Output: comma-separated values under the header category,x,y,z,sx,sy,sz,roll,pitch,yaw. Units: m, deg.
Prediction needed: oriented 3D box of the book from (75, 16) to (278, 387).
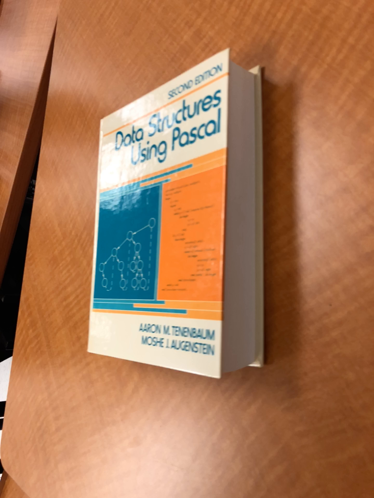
category,x,y,z,sx,sy,sz,roll,pitch,yaw
book,-0.019,-0.029,0.367,0.201,0.050,0.260,-7,77,46
